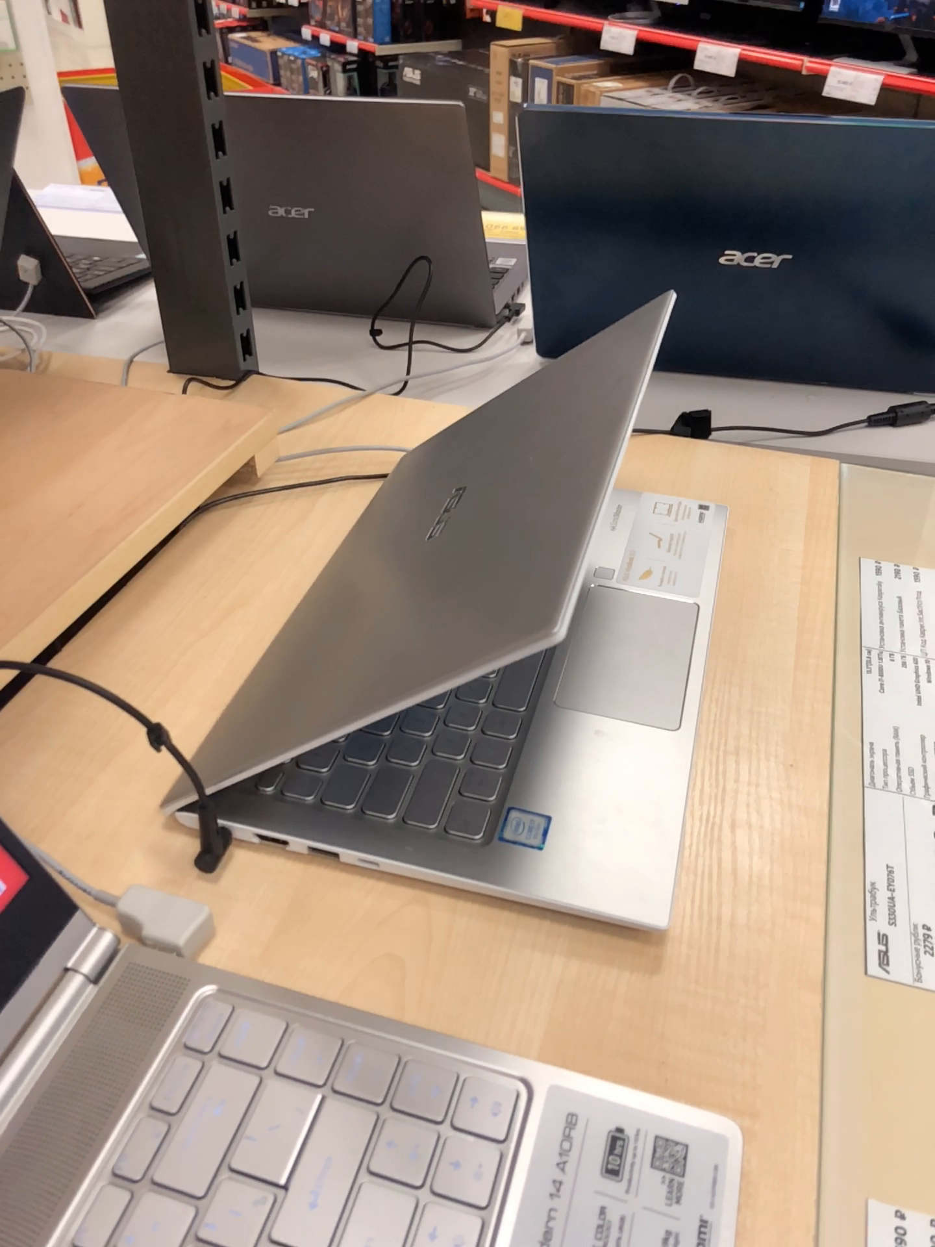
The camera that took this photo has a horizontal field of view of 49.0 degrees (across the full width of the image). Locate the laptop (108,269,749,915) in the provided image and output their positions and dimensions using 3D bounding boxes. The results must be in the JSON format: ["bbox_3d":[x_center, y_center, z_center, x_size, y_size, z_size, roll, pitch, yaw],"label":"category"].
[{"bbox_3d":[0.014,-0.048,0.482,0.196,0.119,0.310,10,37,12],"label":"laptop"}]
